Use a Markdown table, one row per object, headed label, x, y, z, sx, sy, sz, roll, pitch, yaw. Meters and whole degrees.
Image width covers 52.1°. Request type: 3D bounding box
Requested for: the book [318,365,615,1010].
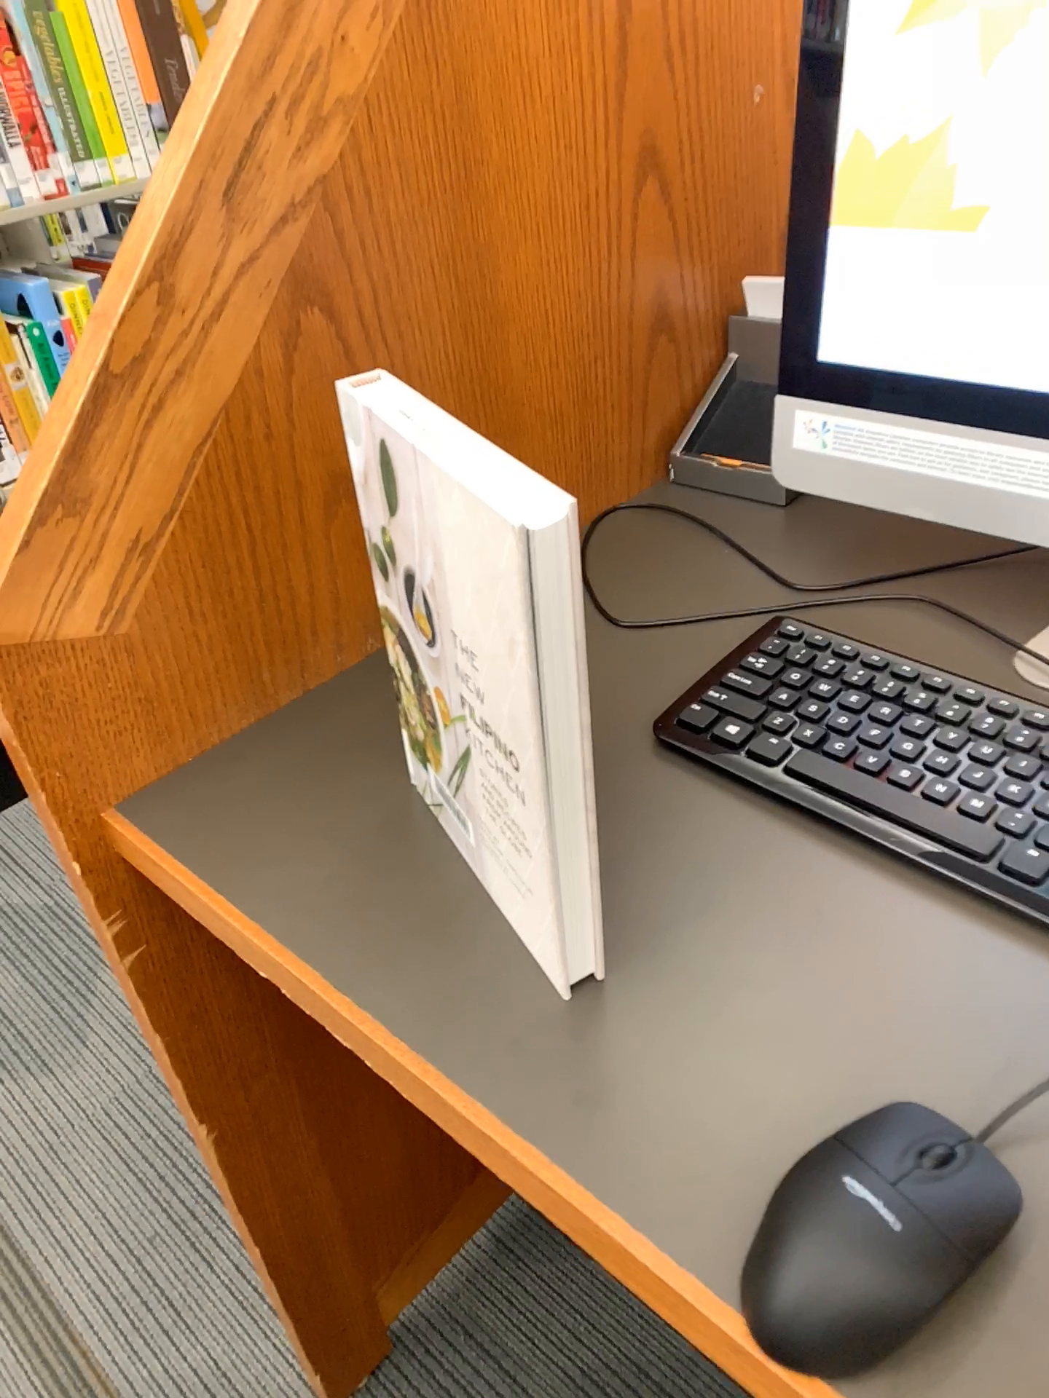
| label | x | y | z | sx | sy | sz | roll | pitch | yaw |
| --- | --- | --- | --- | --- | --- | --- | --- | --- | --- |
| book | -0.027 | -0.010 | 0.480 | 0.030 | 0.229 | 0.193 | -20 | 36 | -18 |
